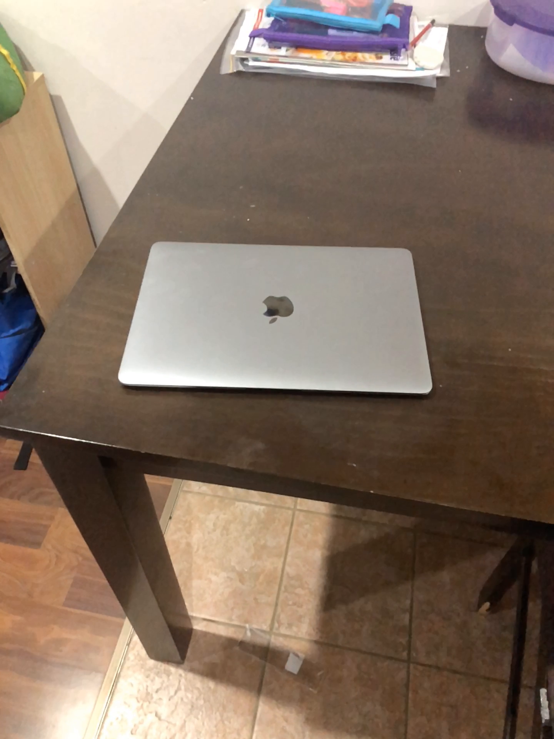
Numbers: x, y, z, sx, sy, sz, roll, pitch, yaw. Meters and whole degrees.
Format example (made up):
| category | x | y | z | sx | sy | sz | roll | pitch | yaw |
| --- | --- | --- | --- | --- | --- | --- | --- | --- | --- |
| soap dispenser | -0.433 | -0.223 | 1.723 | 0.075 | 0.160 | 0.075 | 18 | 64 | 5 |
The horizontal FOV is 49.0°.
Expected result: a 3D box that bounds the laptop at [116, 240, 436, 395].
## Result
| category | x | y | z | sx | sy | sz | roll | pitch | yaw |
| --- | --- | --- | --- | --- | --- | --- | --- | --- | --- |
| laptop | 0.003 | -0.058 | 0.587 | 0.275 | 0.002 | 0.196 | 2 | 50 | -1 |
